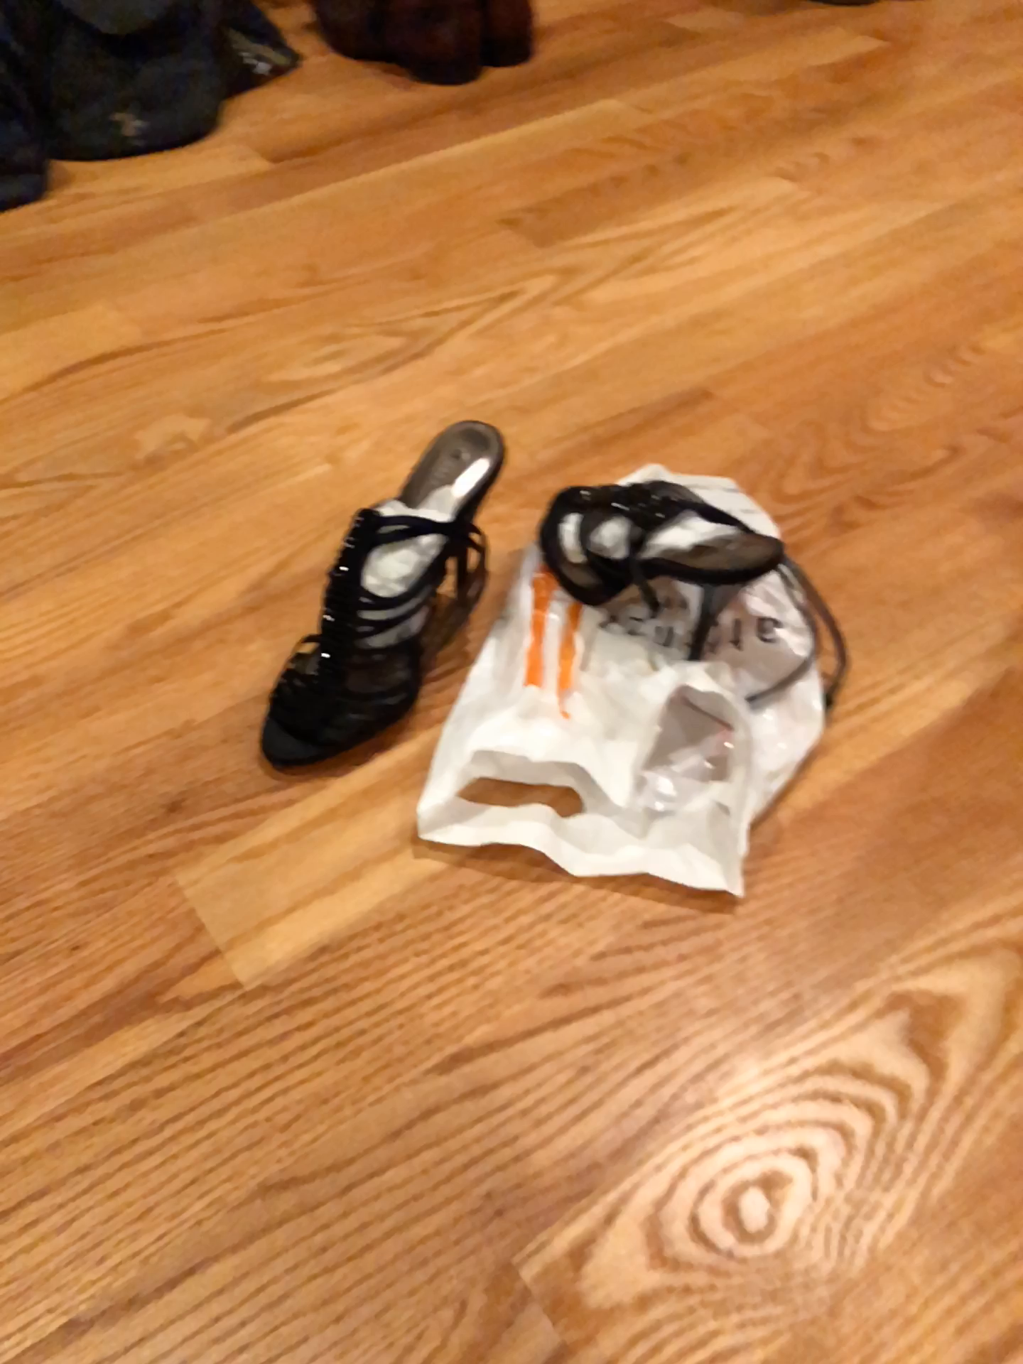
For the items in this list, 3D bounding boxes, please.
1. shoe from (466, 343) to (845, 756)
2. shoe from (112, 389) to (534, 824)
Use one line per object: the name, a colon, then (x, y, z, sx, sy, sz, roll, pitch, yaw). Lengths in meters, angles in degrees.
shoe: (0.070, -0.083, 0.645, 0.092, 0.112, 0.218, -24, 50, -20)
shoe: (-0.088, -0.049, 0.620, 0.090, 0.112, 0.218, 27, 52, 25)
